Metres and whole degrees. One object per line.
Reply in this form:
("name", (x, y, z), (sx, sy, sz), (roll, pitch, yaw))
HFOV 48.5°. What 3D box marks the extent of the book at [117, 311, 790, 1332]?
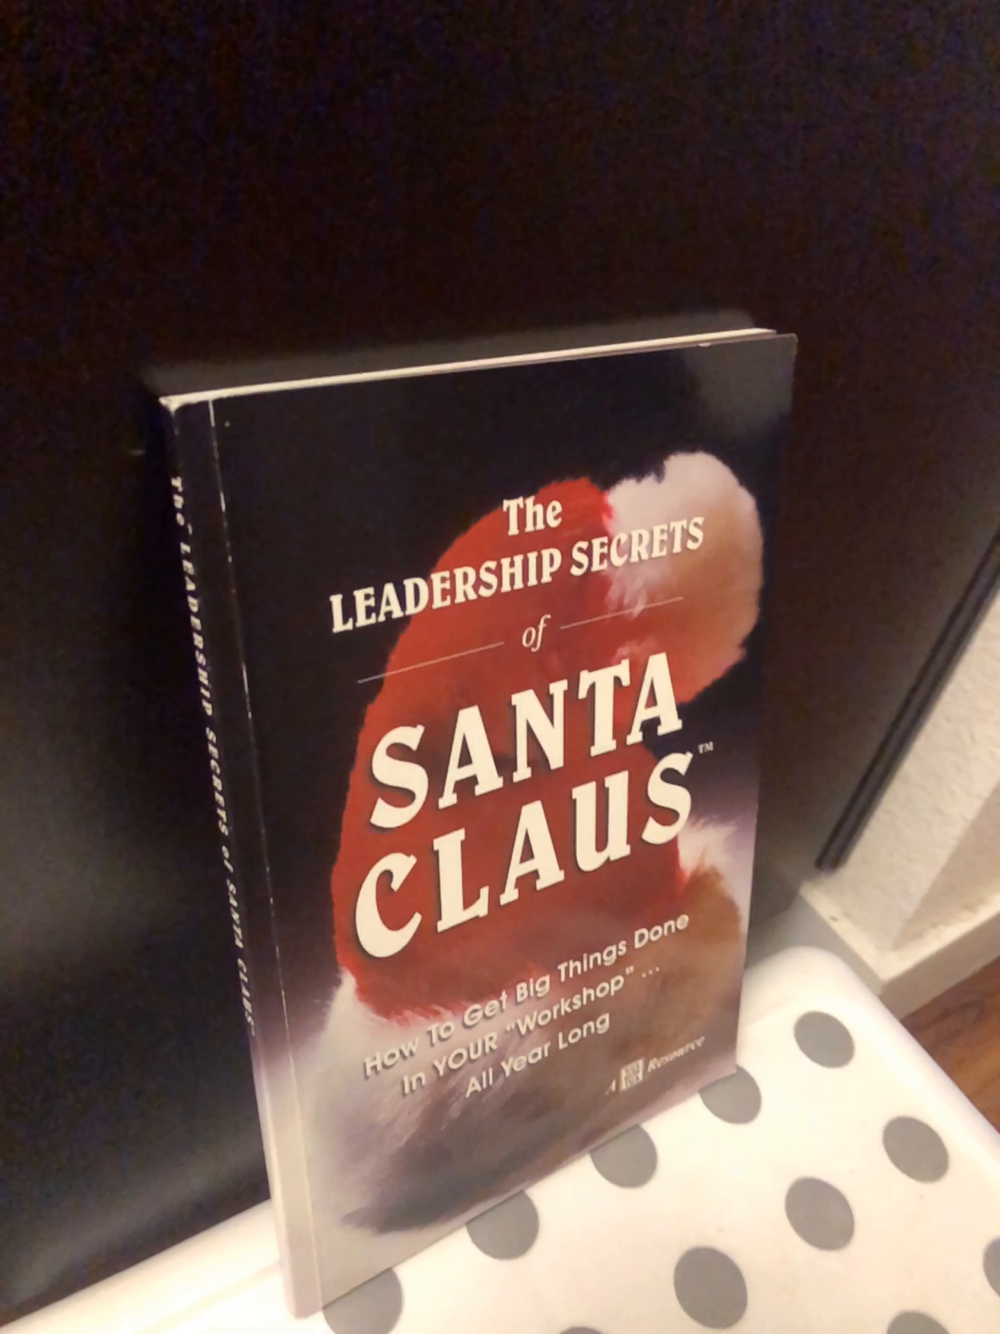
("book", (0.005, 0.036, 0.273), (0.161, 0.225, 0.010), (-16, 26, -32))
